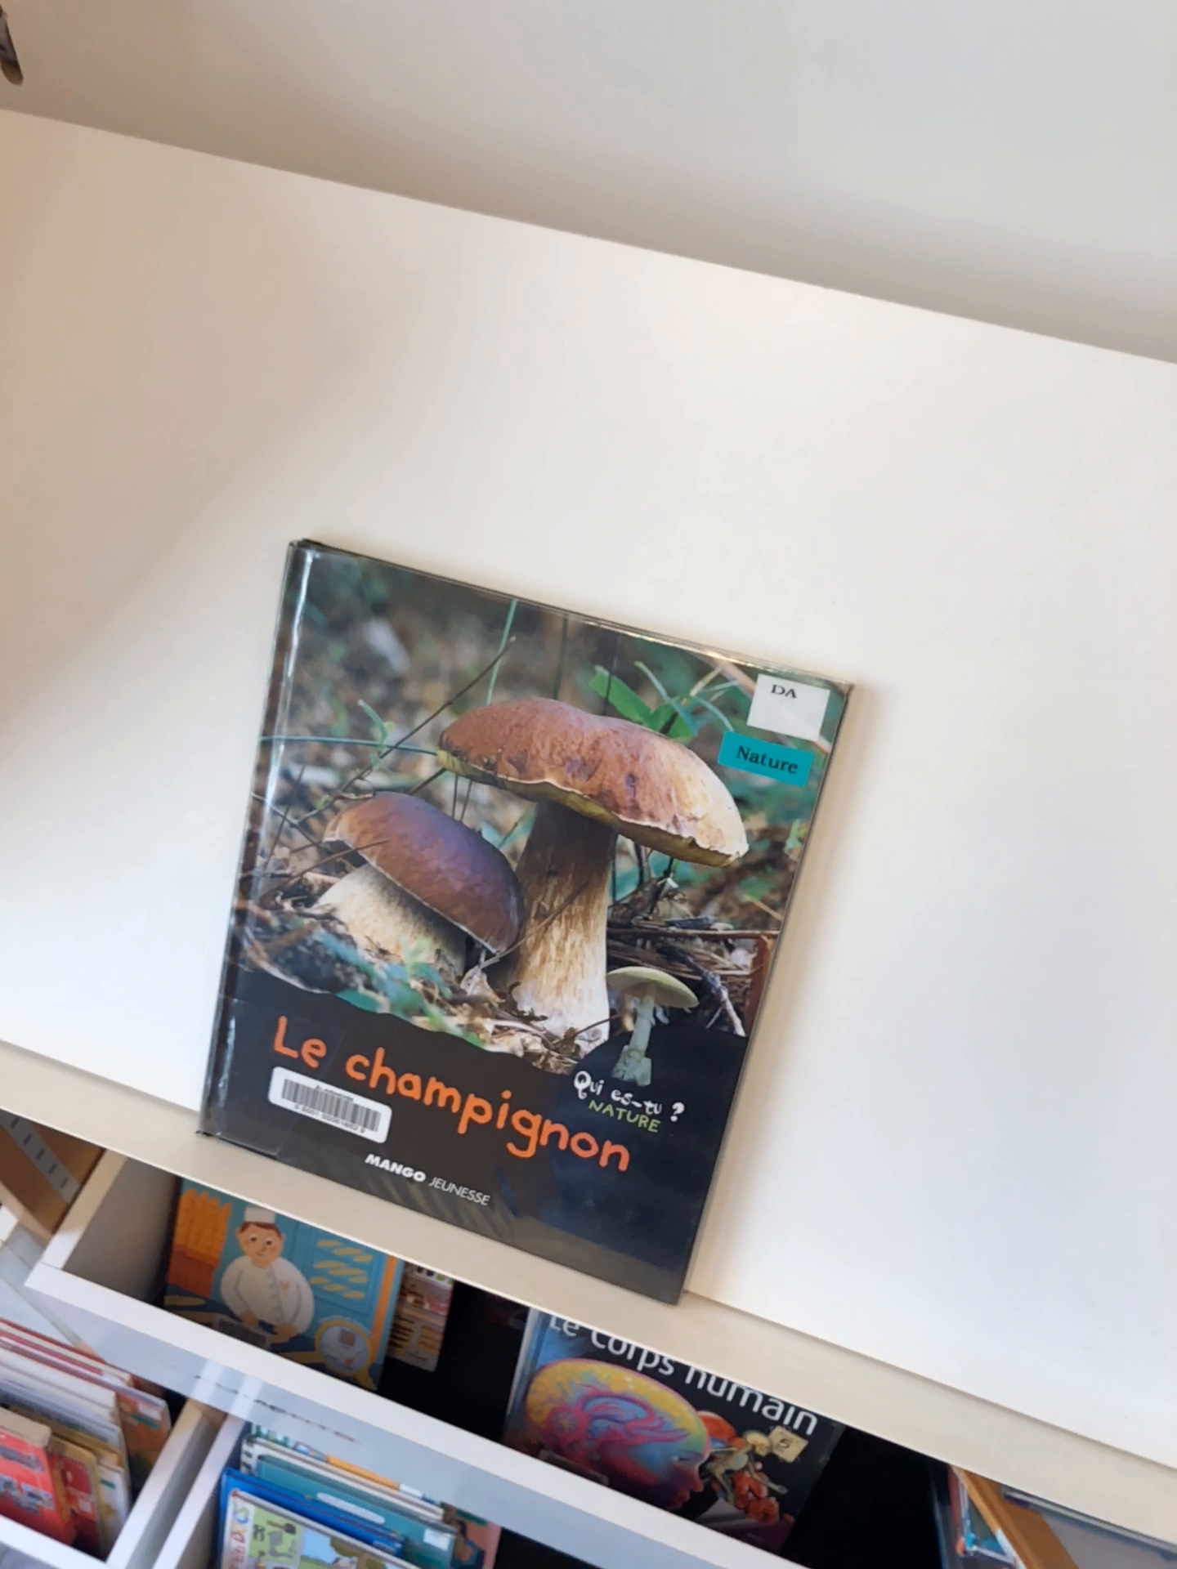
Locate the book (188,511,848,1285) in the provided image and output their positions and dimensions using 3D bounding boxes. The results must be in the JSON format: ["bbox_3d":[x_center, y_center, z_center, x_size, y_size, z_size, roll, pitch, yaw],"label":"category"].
[{"bbox_3d":[-0.037,0.044,0.480,0.202,0.241,0.020,17,17,11],"label":"book"}]
